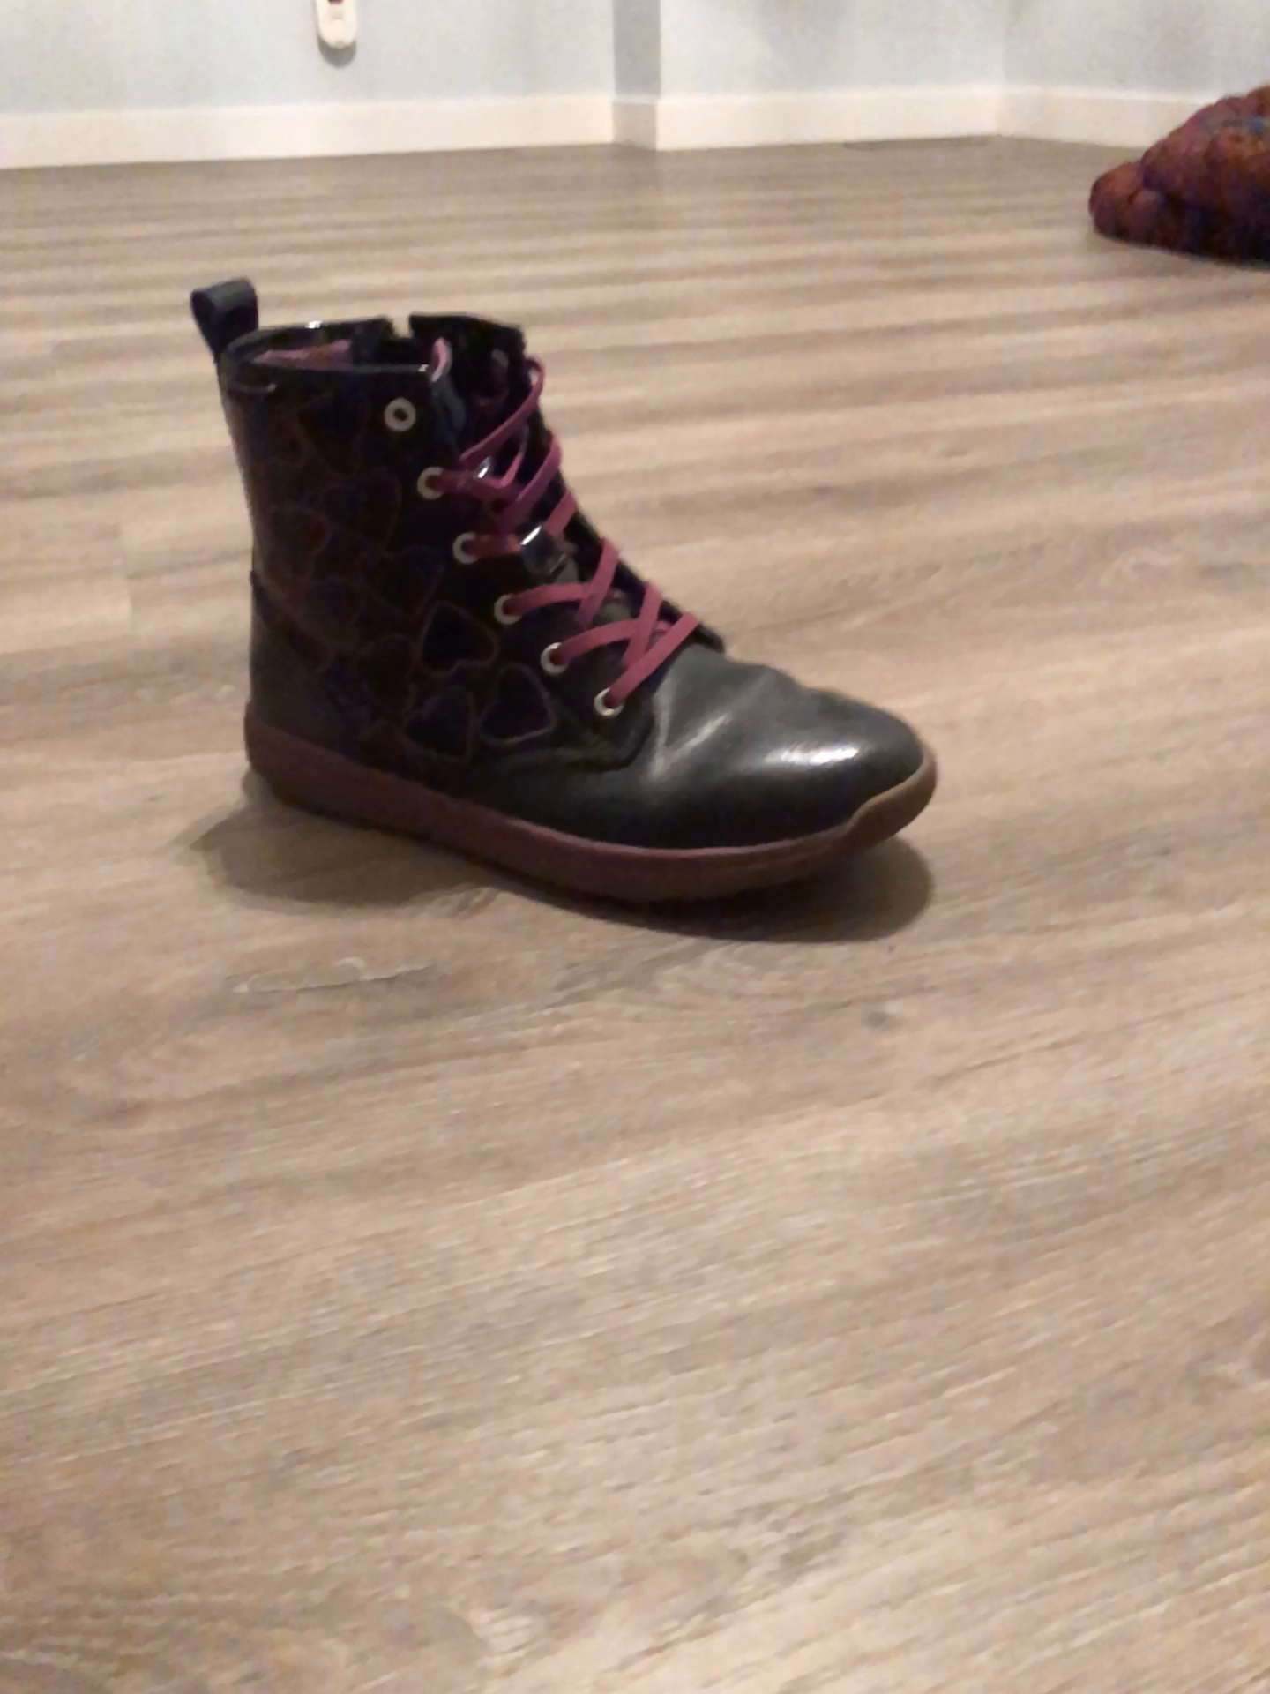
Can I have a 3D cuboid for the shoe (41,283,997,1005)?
[{"bbox_3d":[-0.030,-0.070,0.404,0.230,0.149,0.100,12,32,23],"label":"shoe"}]
